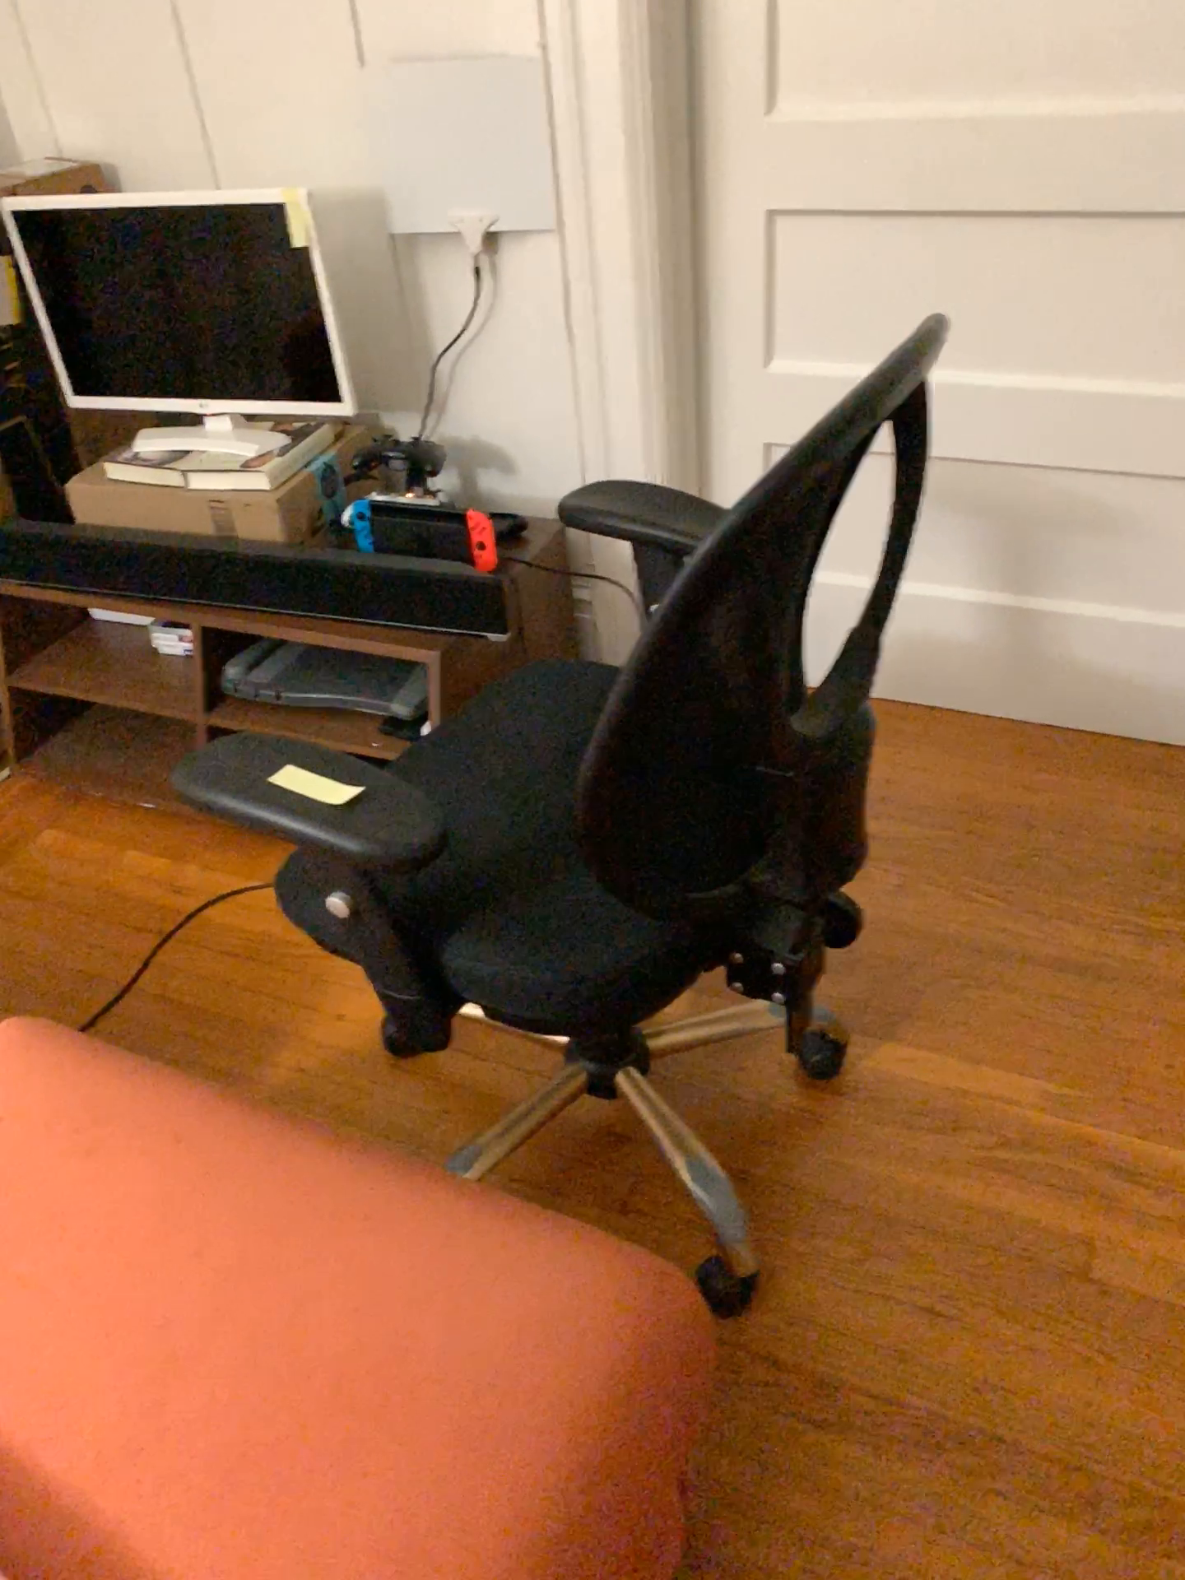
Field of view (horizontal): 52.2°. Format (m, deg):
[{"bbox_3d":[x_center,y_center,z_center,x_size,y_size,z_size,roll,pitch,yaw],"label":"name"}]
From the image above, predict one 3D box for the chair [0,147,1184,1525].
[{"bbox_3d":[0.015,0.021,1.170,0.662,0.974,0.642,24,46,27],"label":"chair"}]
